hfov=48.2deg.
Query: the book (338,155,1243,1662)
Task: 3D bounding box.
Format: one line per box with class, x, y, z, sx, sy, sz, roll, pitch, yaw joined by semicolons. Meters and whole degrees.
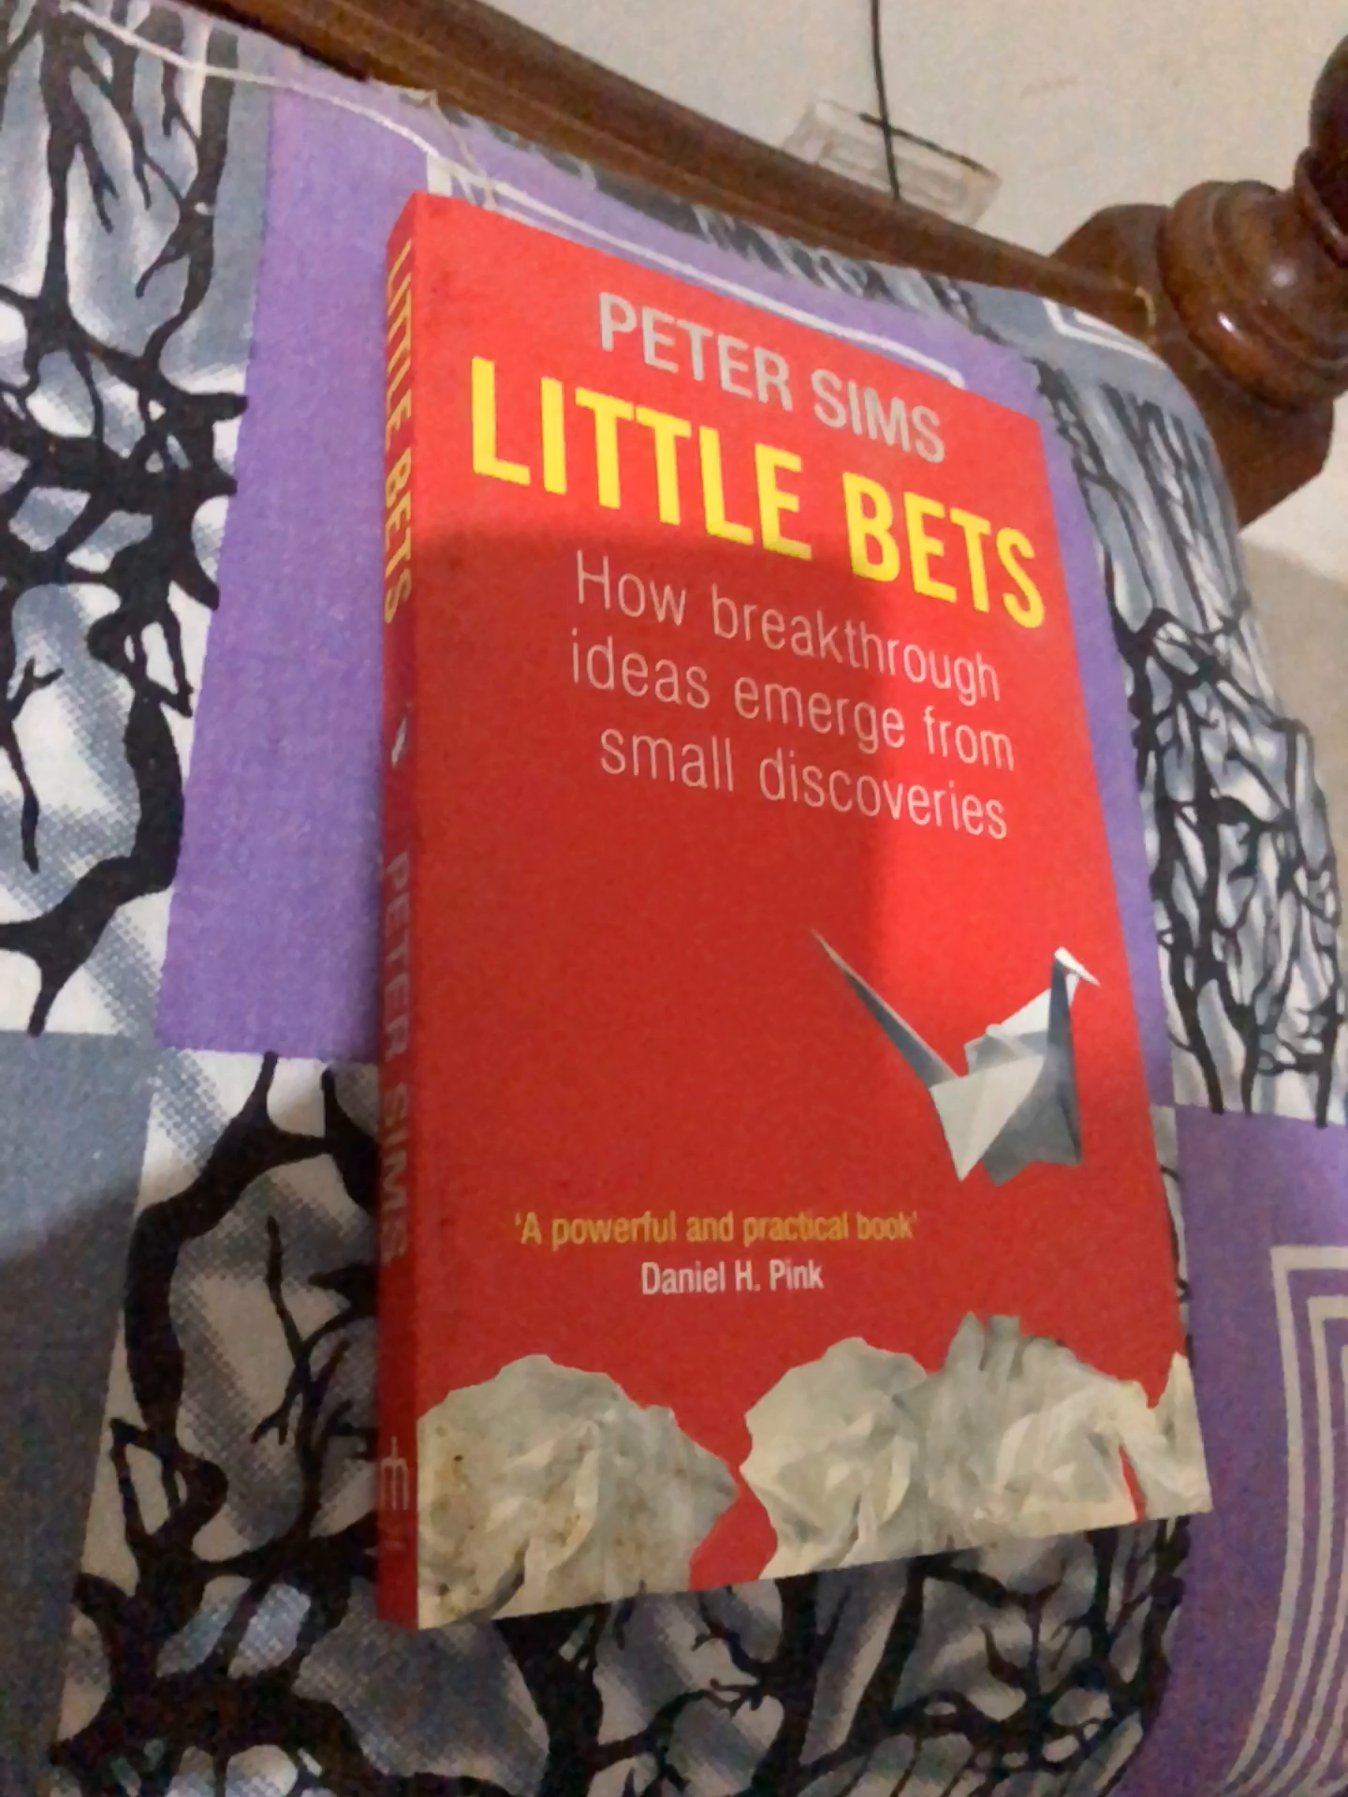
book;0.017;-0.008;0.269;0.151;0.020;0.240;7;66;-29
